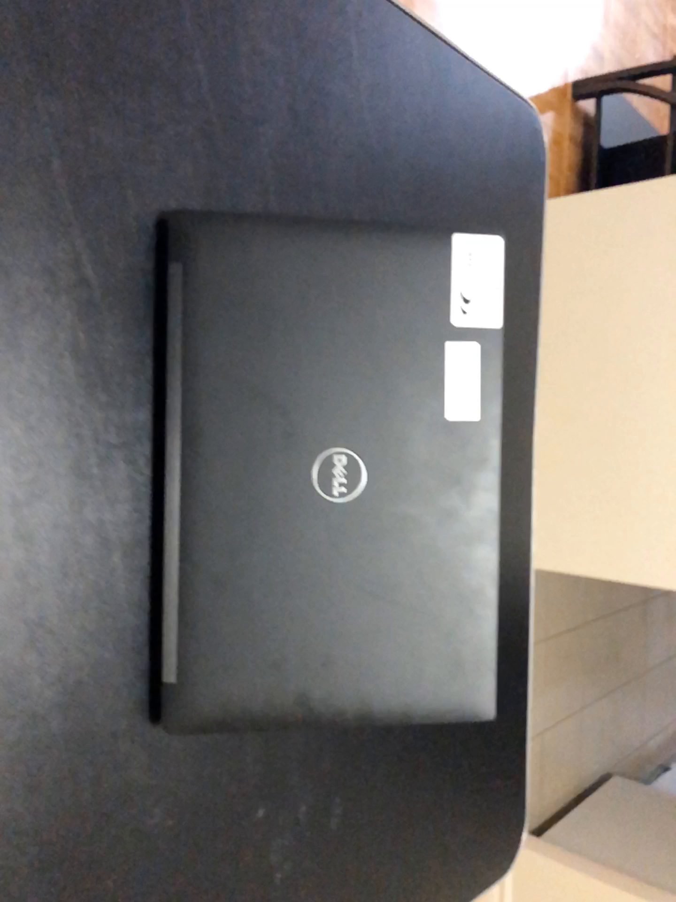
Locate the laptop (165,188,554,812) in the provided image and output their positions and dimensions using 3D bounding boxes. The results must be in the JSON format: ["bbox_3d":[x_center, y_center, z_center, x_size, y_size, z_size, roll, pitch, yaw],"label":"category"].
[{"bbox_3d":[0.023,0.020,0.511,0.221,0.142,0.318,0,92,-48],"label":"laptop"}]
